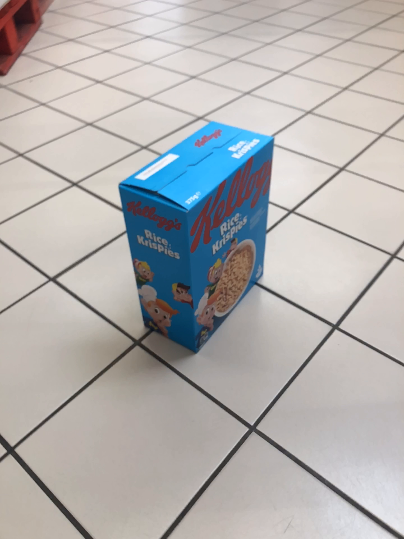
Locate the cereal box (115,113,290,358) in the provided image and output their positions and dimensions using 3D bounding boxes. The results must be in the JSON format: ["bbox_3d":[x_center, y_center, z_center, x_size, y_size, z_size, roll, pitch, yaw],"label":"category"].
[{"bbox_3d":[0.010,-0.046,0.604,0.110,0.239,0.201,25,49,26],"label":"cereal box"}]
